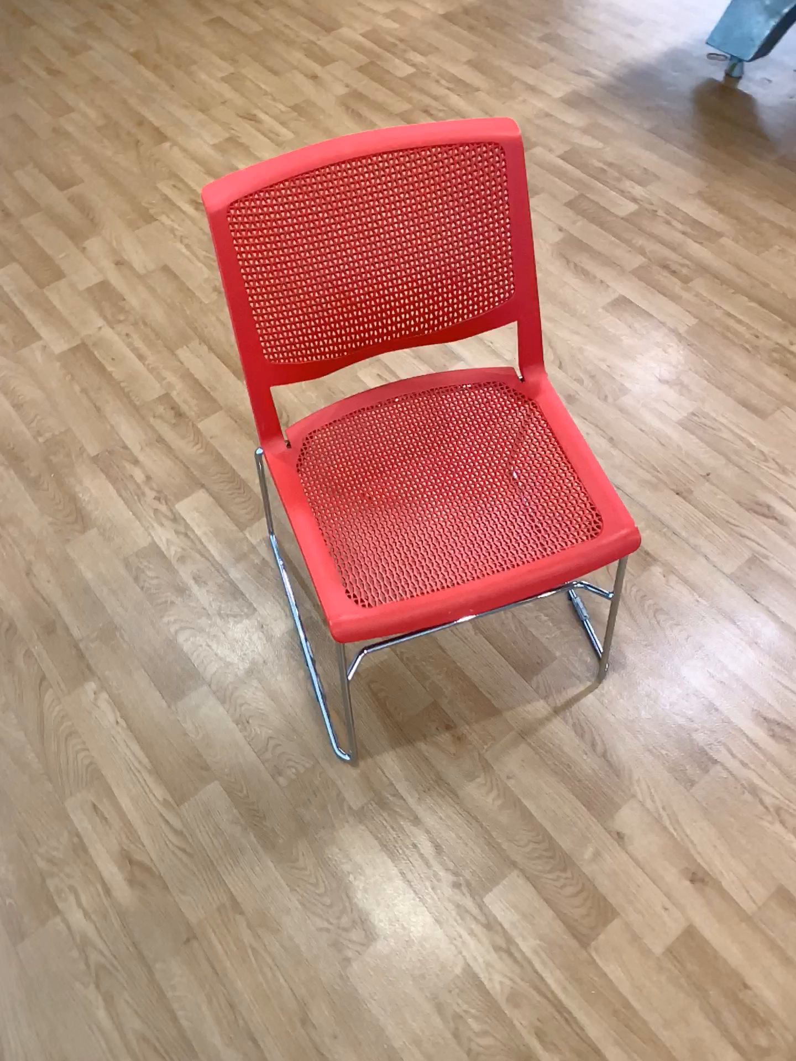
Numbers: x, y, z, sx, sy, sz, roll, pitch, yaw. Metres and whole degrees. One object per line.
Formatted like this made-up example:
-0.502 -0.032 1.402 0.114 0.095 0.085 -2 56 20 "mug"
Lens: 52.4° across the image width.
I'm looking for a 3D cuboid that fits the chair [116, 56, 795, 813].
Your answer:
0.064 -0.098 1.124 0.600 0.705 0.594 -17 56 -10 "chair"
